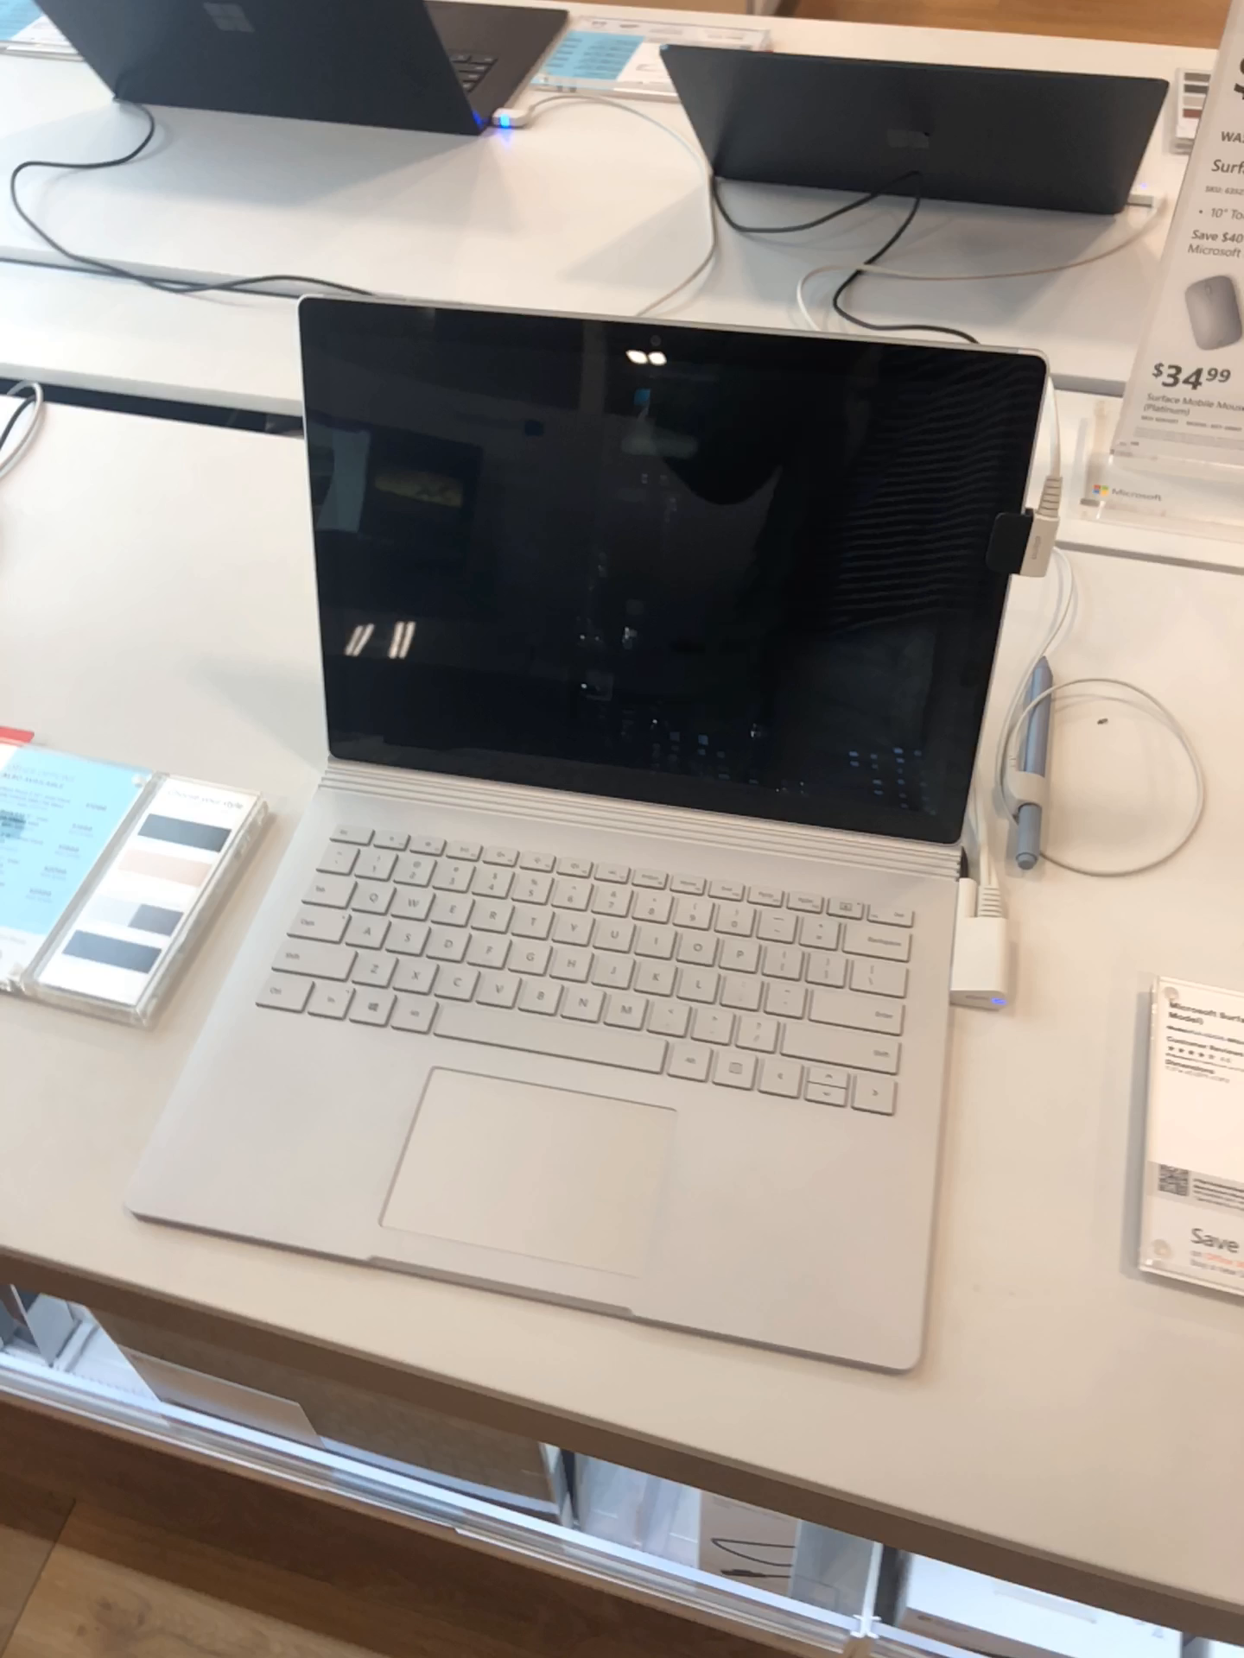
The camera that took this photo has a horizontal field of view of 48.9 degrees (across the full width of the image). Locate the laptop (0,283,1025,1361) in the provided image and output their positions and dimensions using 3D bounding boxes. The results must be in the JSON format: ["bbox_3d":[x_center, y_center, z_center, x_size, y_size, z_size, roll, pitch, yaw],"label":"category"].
[{"bbox_3d":[-0.018,-0.020,0.517,0.291,0.191,0.312,8,52,10],"label":"laptop"}]
